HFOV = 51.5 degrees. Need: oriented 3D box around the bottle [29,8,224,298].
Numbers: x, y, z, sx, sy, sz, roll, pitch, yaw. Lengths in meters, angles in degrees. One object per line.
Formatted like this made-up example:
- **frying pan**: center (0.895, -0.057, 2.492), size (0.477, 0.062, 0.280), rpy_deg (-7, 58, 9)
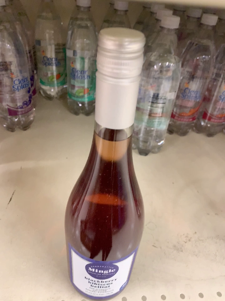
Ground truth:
- **bottle**: center (-0.004, 0.042, 0.232), size (0.090, 0.298, 0.080), rpy_deg (4, 39, -2)
